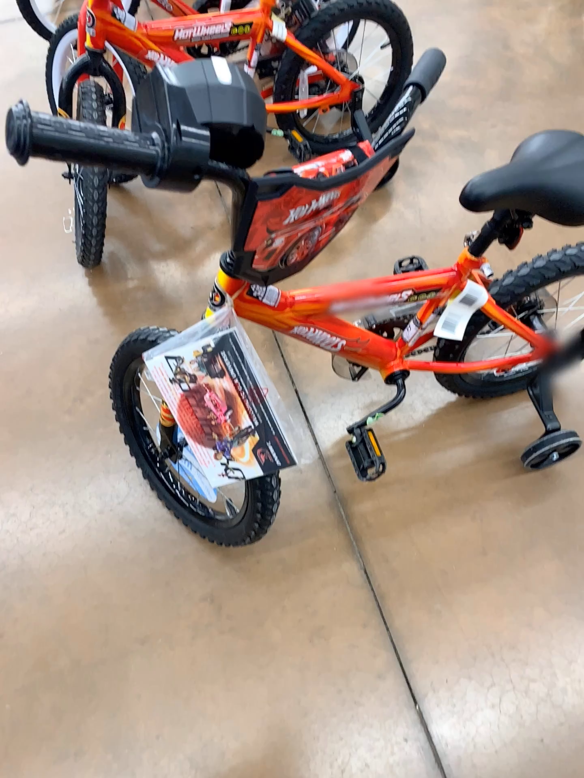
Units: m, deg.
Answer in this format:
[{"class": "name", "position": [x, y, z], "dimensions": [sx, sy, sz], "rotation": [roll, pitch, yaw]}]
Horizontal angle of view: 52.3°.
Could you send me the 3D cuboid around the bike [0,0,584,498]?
[{"class": "bike", "position": [0.117, -0.256, 1.016], "dimensions": [0.994, 0.822, 0.504], "rotation": [-11, 58, 1]}]
